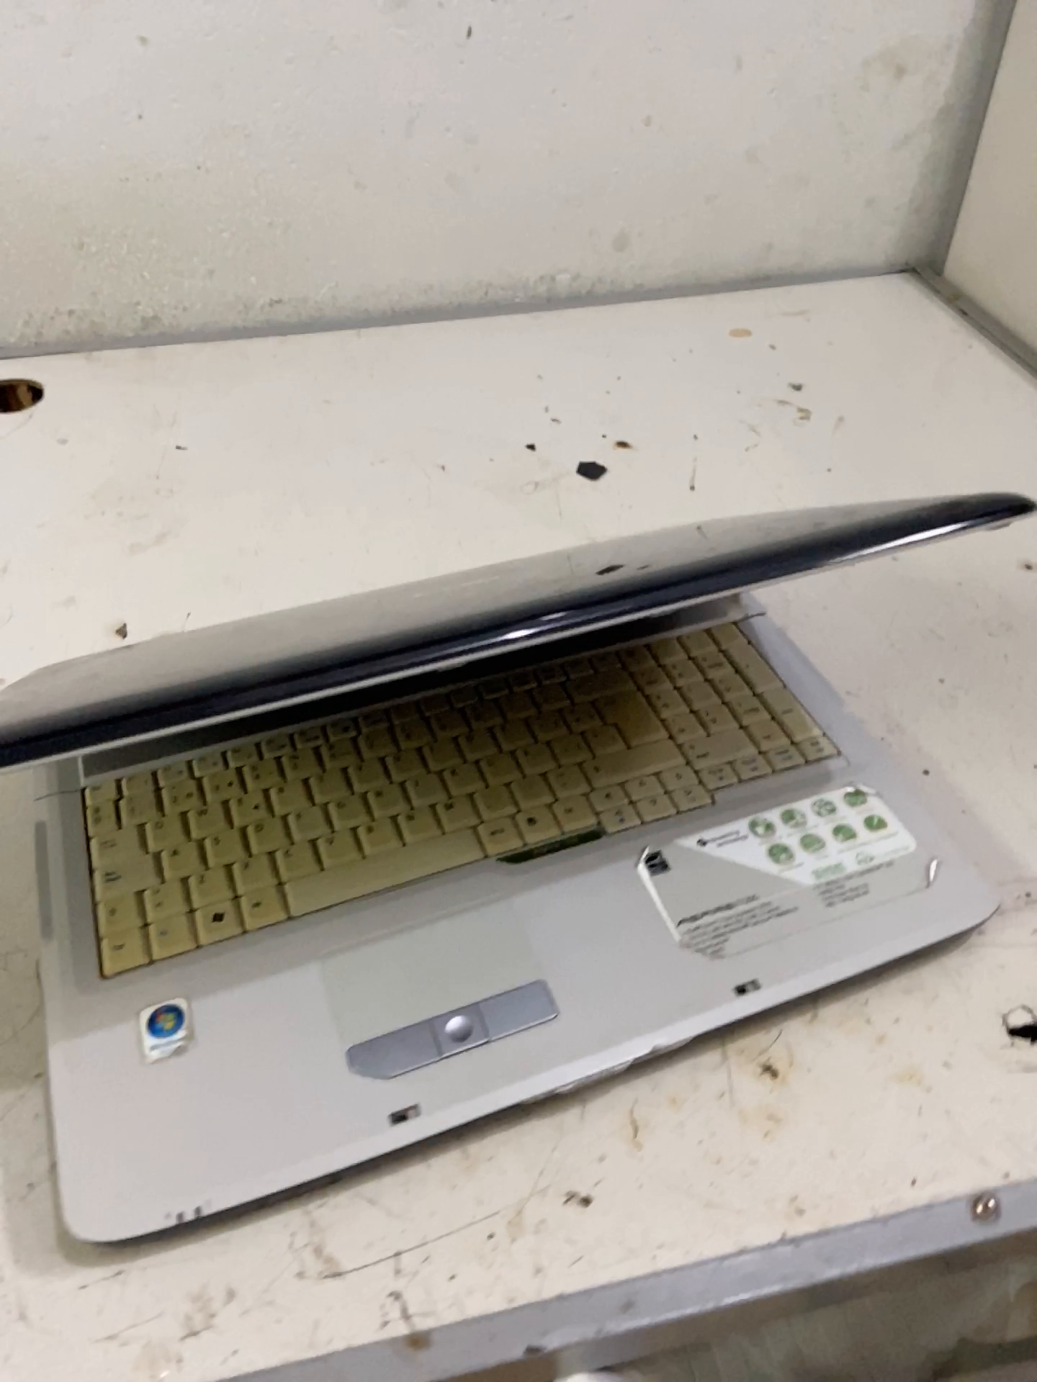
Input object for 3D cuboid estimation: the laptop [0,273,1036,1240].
[{"bbox_3d":[-0.015,-0.013,0.448,0.381,0.164,0.279,-15,44,-14],"label":"laptop"}]
